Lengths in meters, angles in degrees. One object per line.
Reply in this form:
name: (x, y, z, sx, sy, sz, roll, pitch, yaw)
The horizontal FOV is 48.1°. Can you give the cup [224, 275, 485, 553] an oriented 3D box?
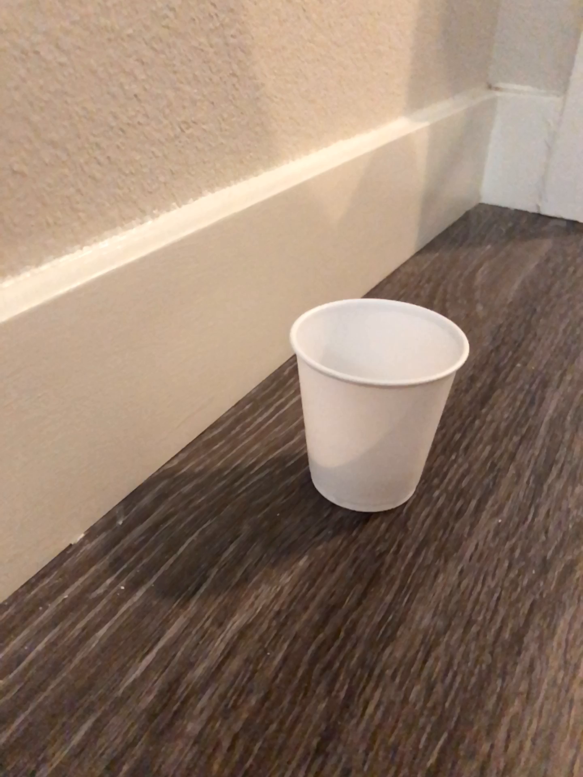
cup: (0.019, 0.005, 0.229, 0.060, 0.060, 0.060, 1, 32, -1)
